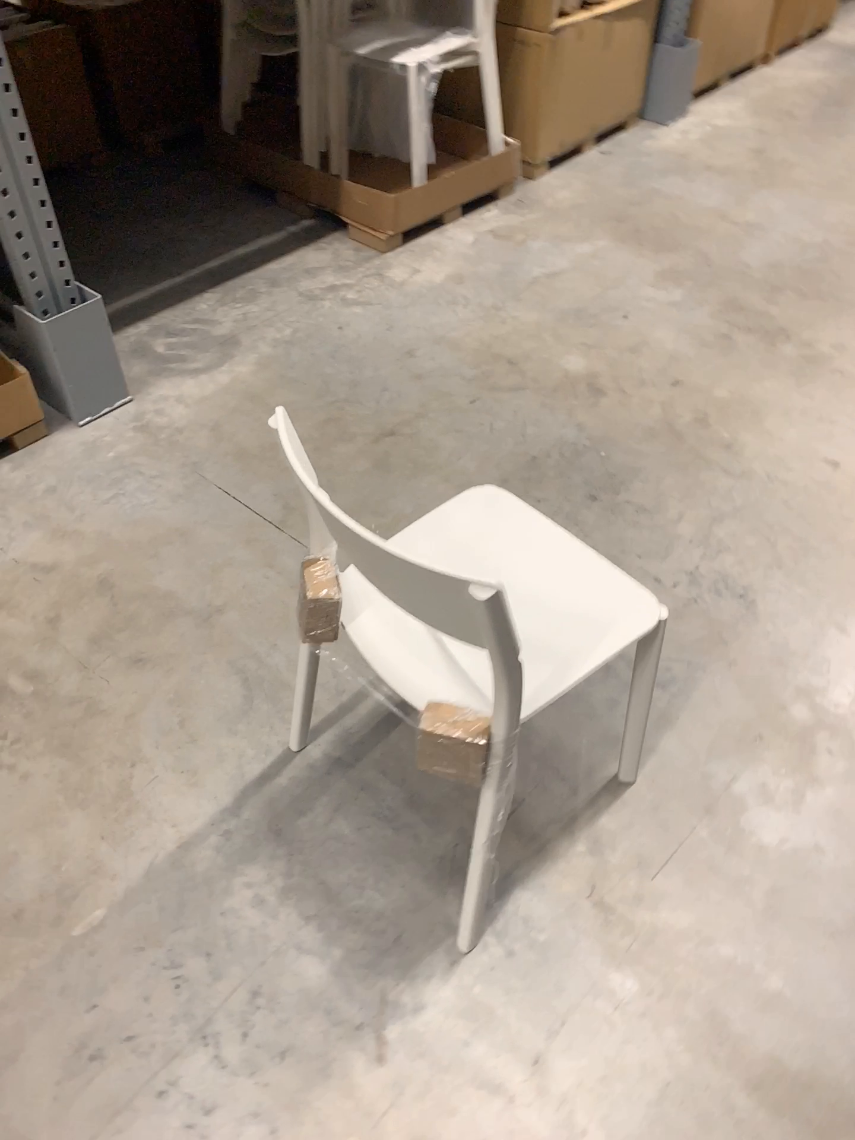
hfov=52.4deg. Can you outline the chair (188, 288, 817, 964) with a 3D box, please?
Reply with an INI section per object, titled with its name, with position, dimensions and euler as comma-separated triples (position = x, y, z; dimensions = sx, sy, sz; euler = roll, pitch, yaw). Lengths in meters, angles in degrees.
[chair]
position = 0.084, 0.063, 1.245
dimensions = 0.531, 0.618, 0.521
euler = -33, 54, -28
